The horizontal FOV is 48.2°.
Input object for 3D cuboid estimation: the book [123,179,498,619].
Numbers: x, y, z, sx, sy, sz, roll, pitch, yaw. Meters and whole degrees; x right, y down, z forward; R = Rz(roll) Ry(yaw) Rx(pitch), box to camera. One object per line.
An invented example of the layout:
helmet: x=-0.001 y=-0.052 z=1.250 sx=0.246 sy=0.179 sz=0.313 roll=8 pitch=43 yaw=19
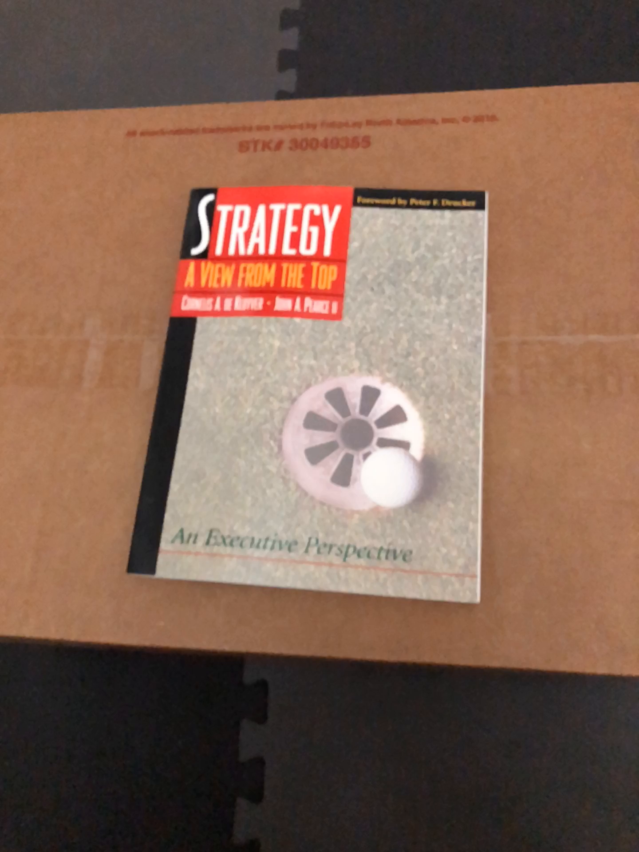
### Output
book: x=0.003 y=-0.027 z=0.391 sx=0.180 sy=0.020 sz=0.240 roll=3 pitch=72 yaw=9
